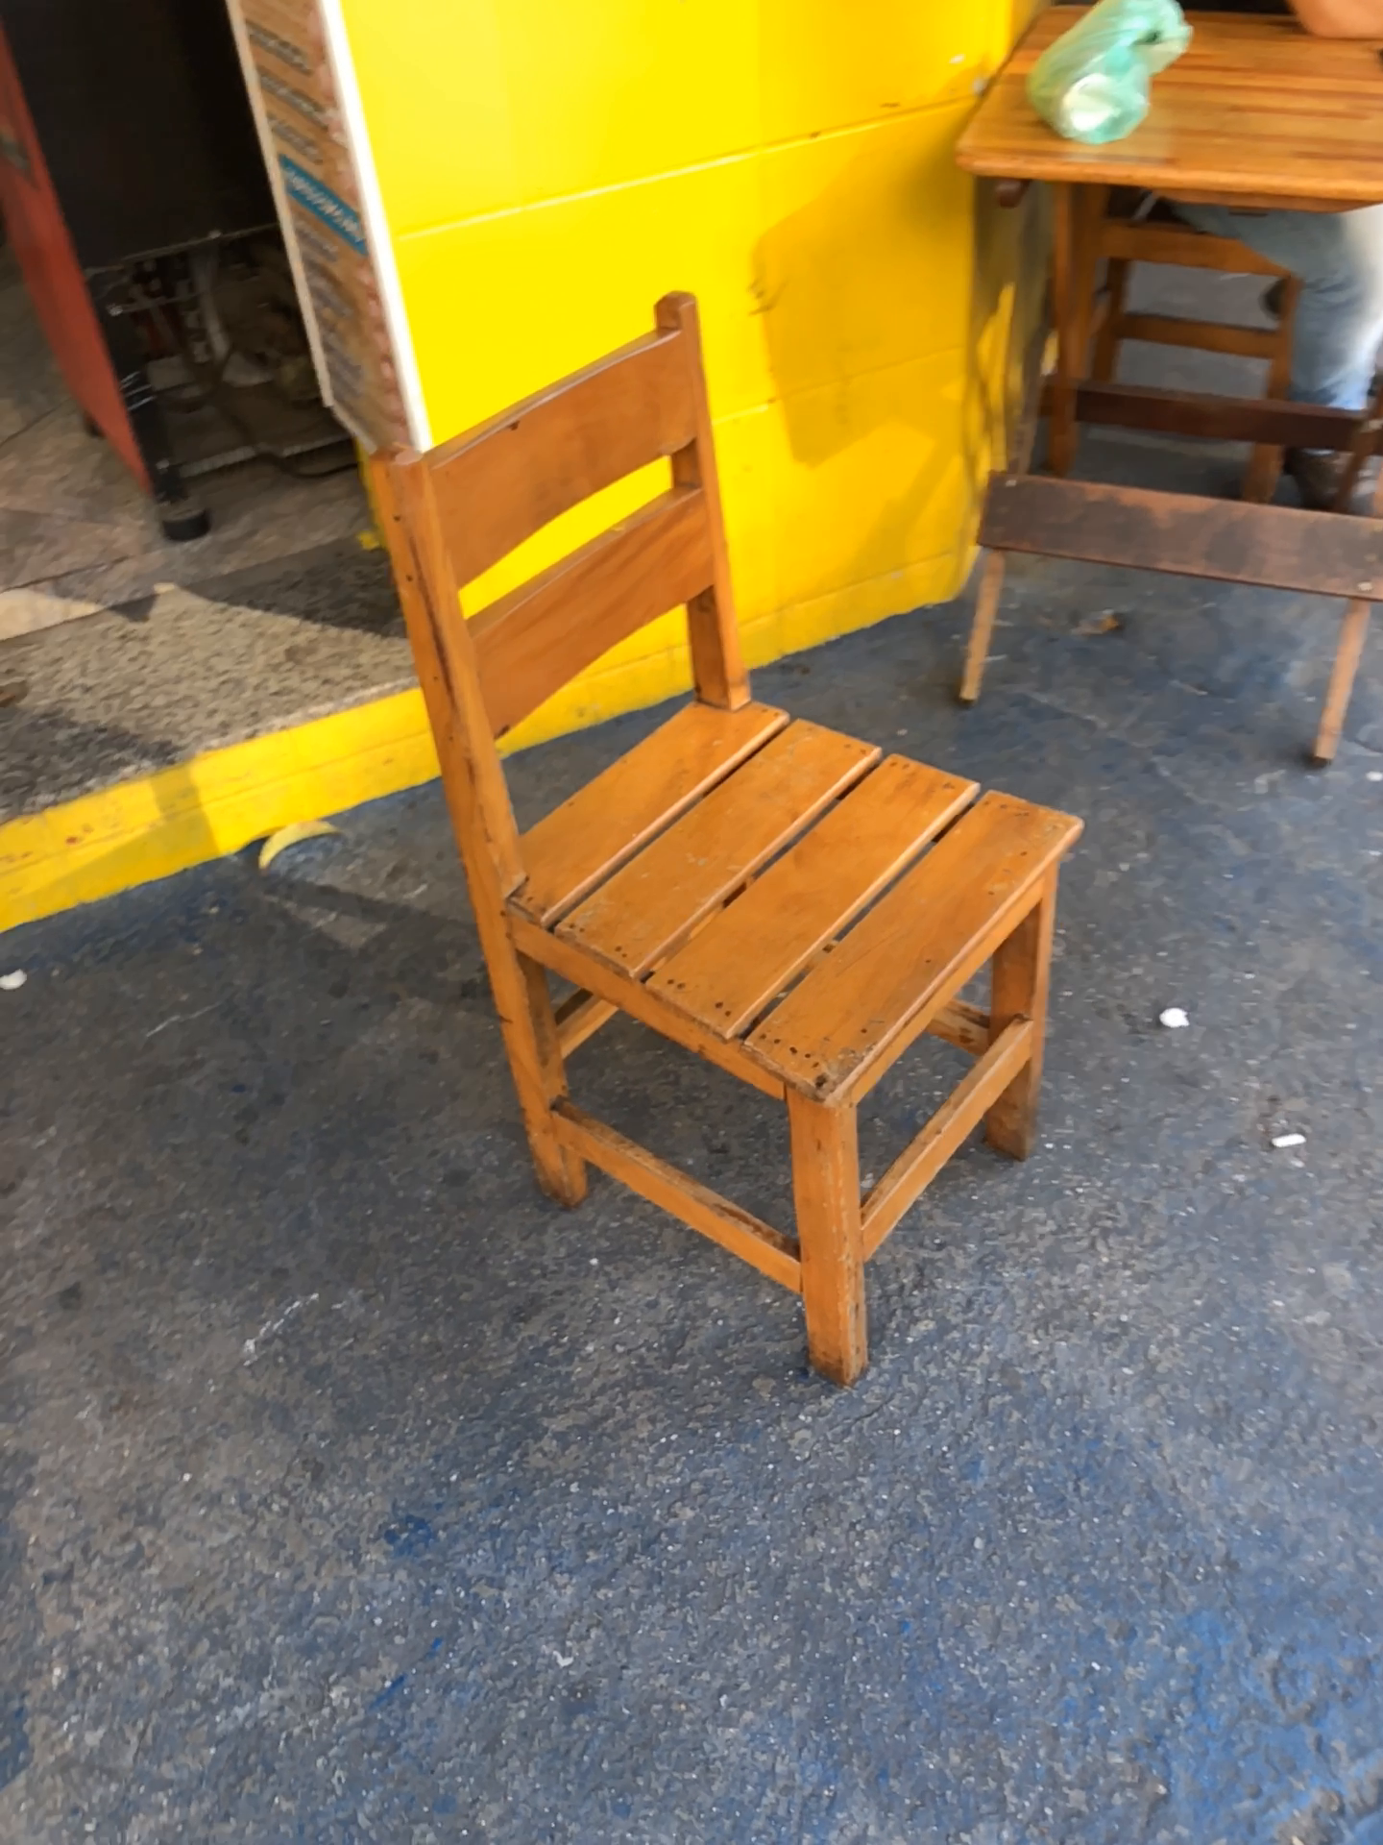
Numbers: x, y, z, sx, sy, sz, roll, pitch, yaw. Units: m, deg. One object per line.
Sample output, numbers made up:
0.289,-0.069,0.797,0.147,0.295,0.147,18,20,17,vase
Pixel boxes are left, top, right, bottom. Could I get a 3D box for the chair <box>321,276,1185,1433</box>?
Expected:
0.072,-0.043,1.305,0.441,0.804,0.402,25,49,30,chair
